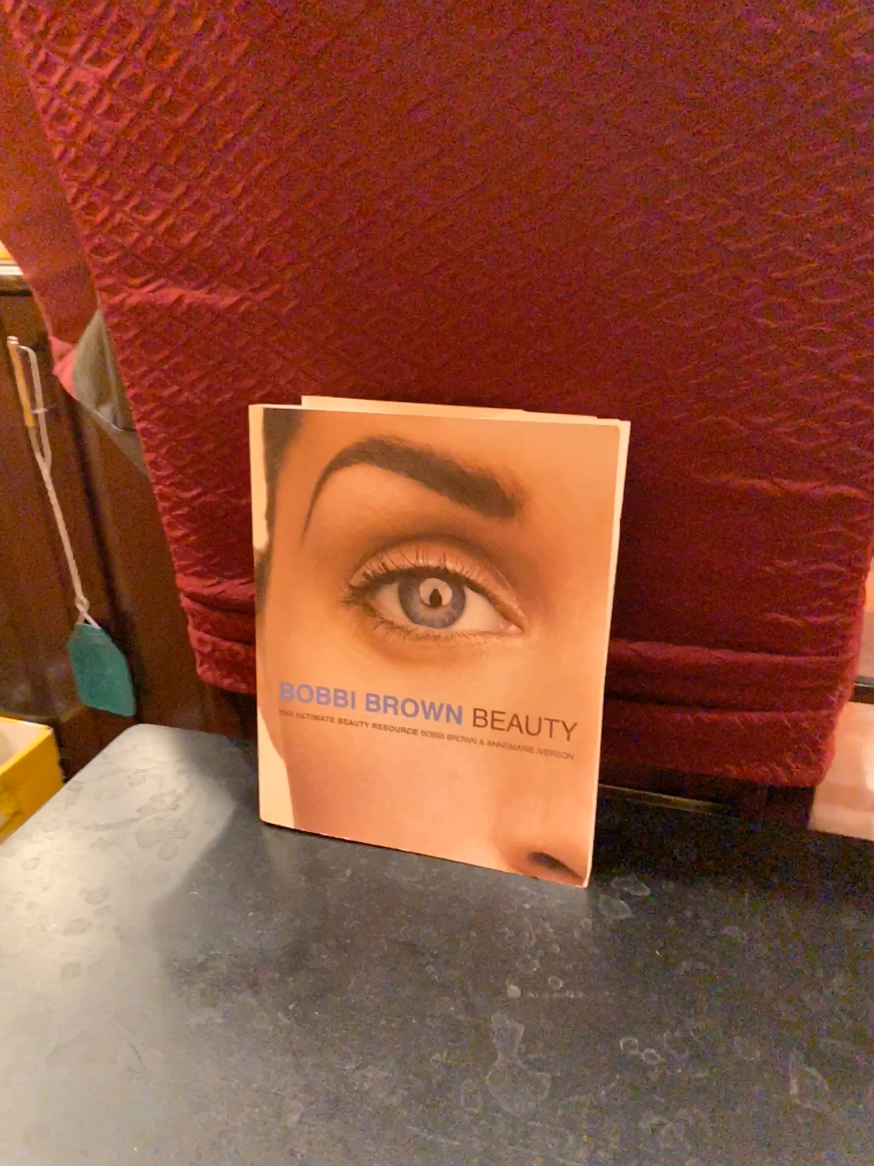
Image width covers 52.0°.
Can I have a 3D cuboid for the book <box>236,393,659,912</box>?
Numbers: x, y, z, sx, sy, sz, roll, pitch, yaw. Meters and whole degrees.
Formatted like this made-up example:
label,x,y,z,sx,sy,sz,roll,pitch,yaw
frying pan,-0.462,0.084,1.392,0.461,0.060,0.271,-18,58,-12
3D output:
label,x,y,z,sx,sy,sz,roll,pitch,yaw
book,-0.001,0.030,0.452,0.200,0.239,0.030,6,15,18
